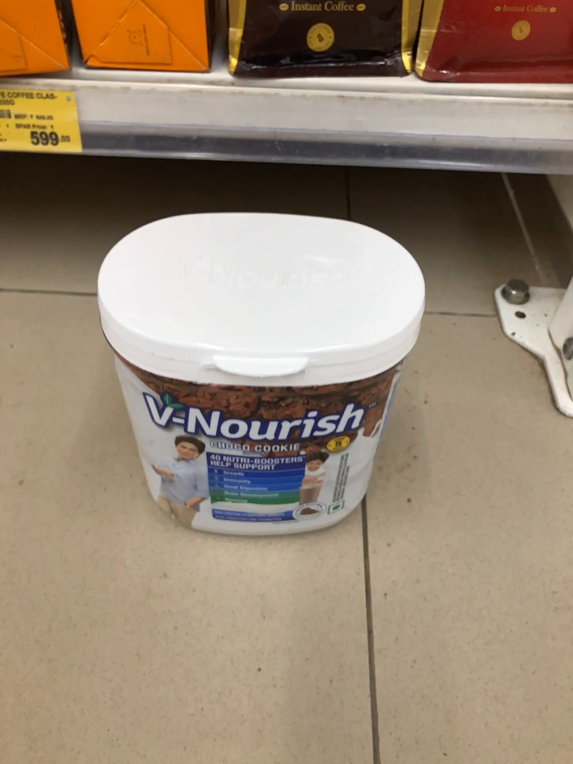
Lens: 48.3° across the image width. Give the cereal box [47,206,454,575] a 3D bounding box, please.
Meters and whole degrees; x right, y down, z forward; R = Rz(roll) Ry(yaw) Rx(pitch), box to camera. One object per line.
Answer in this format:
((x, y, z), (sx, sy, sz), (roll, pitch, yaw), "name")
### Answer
((-0.014, 0.011, 0.309), (0.140, 0.149, 0.101), (2, 48, -1), "cereal box")
